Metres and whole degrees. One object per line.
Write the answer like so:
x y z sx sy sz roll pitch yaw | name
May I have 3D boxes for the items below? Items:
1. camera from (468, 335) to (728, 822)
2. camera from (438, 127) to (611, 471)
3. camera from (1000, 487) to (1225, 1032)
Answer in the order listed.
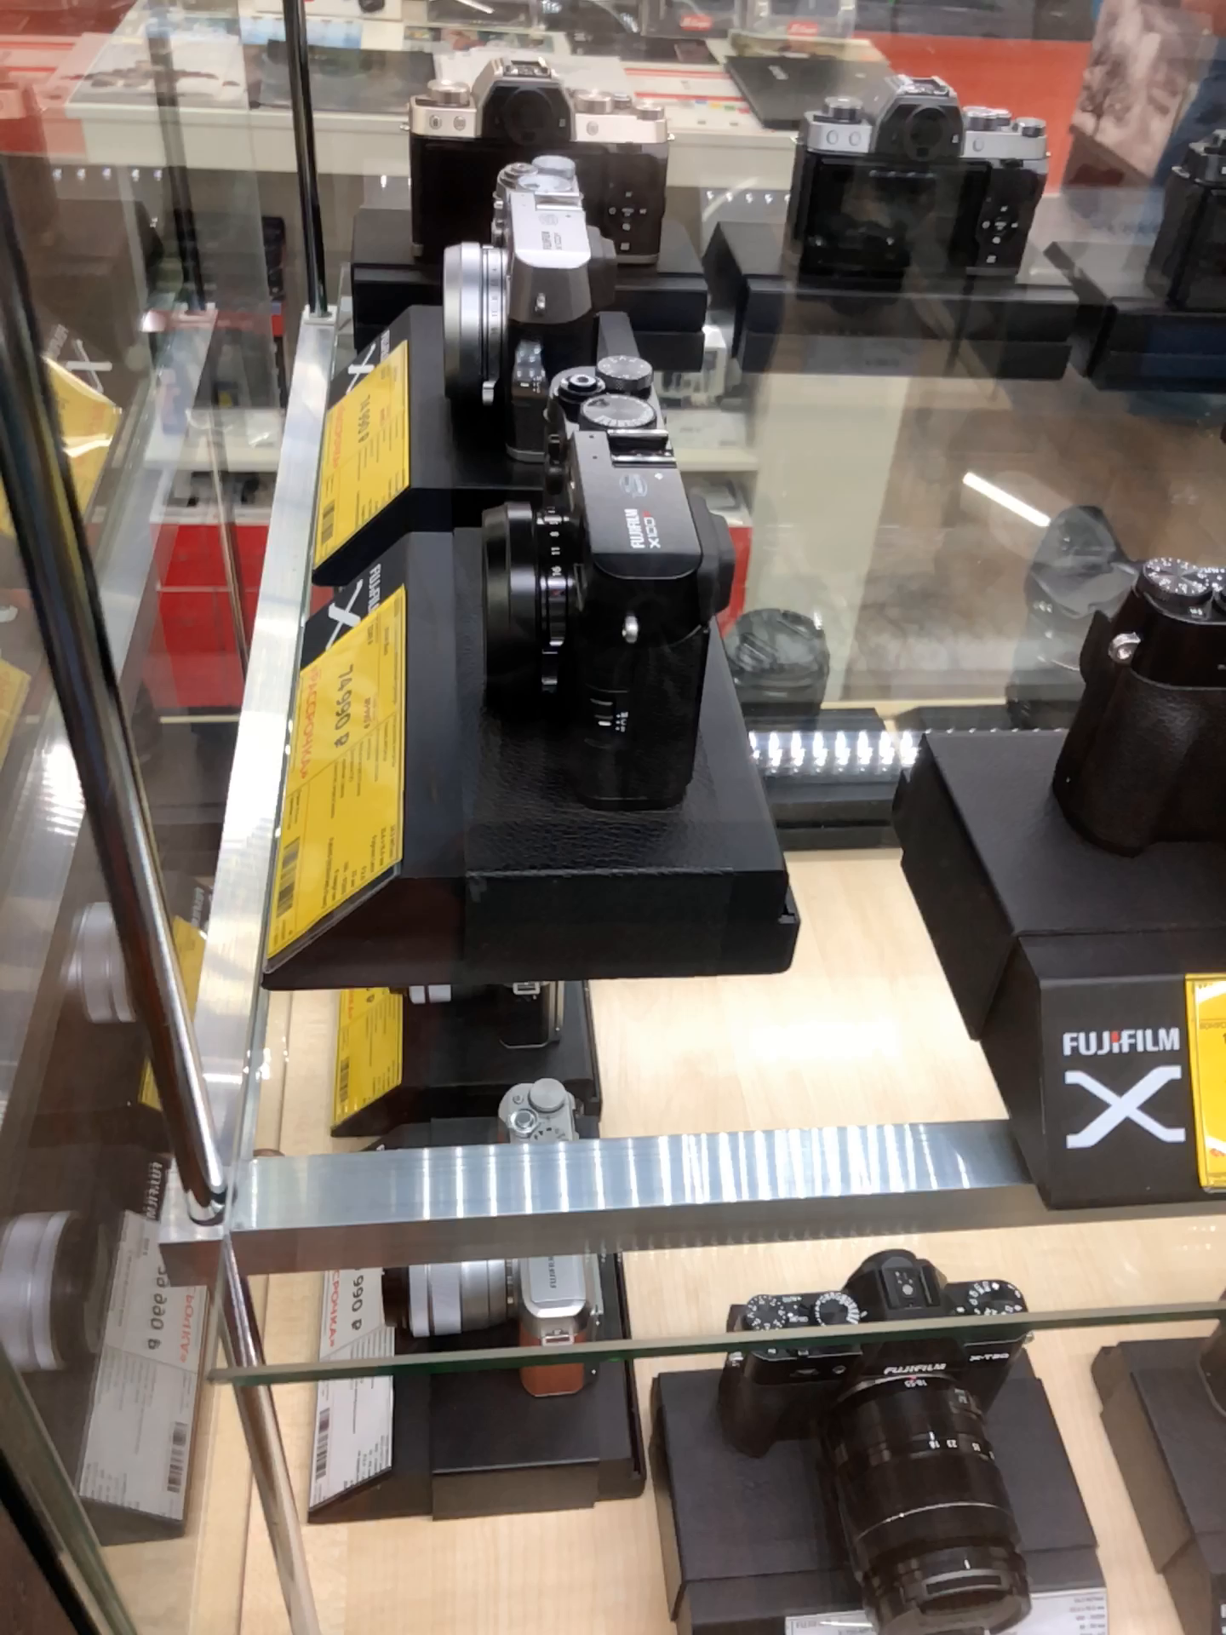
-0.011 -0.071 0.377 0.054 0.075 0.131 -1 41 -8 | camera
-0.038 -0.200 0.515 0.054 0.080 0.131 -1 41 -8 | camera
0.183 -0.017 0.327 0.131 0.080 0.104 -1 41 -7 | camera
